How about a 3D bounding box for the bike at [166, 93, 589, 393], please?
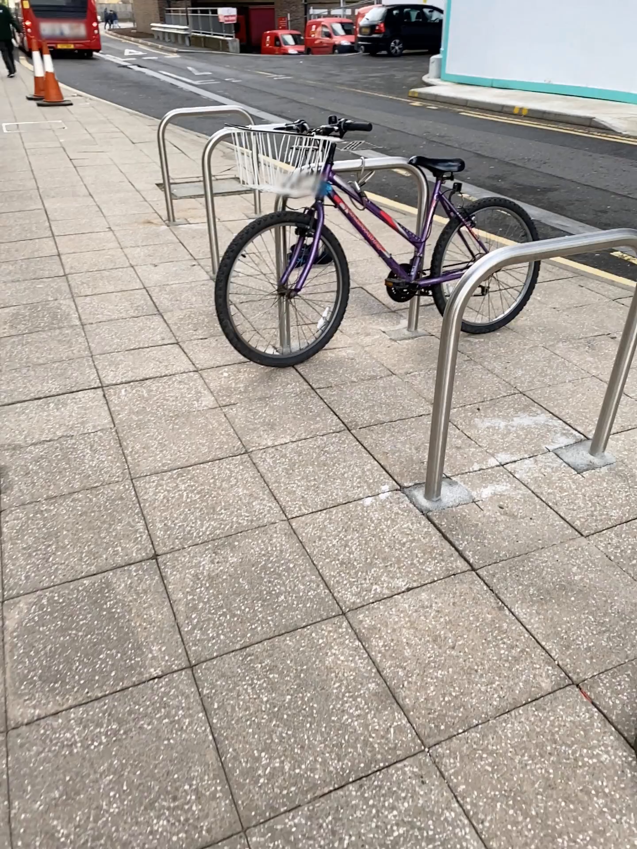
[{"bbox_3d":[0.299,-0.905,2.969,1.735,1.042,0.584,-15,35,-24],"label":"bike"}]
